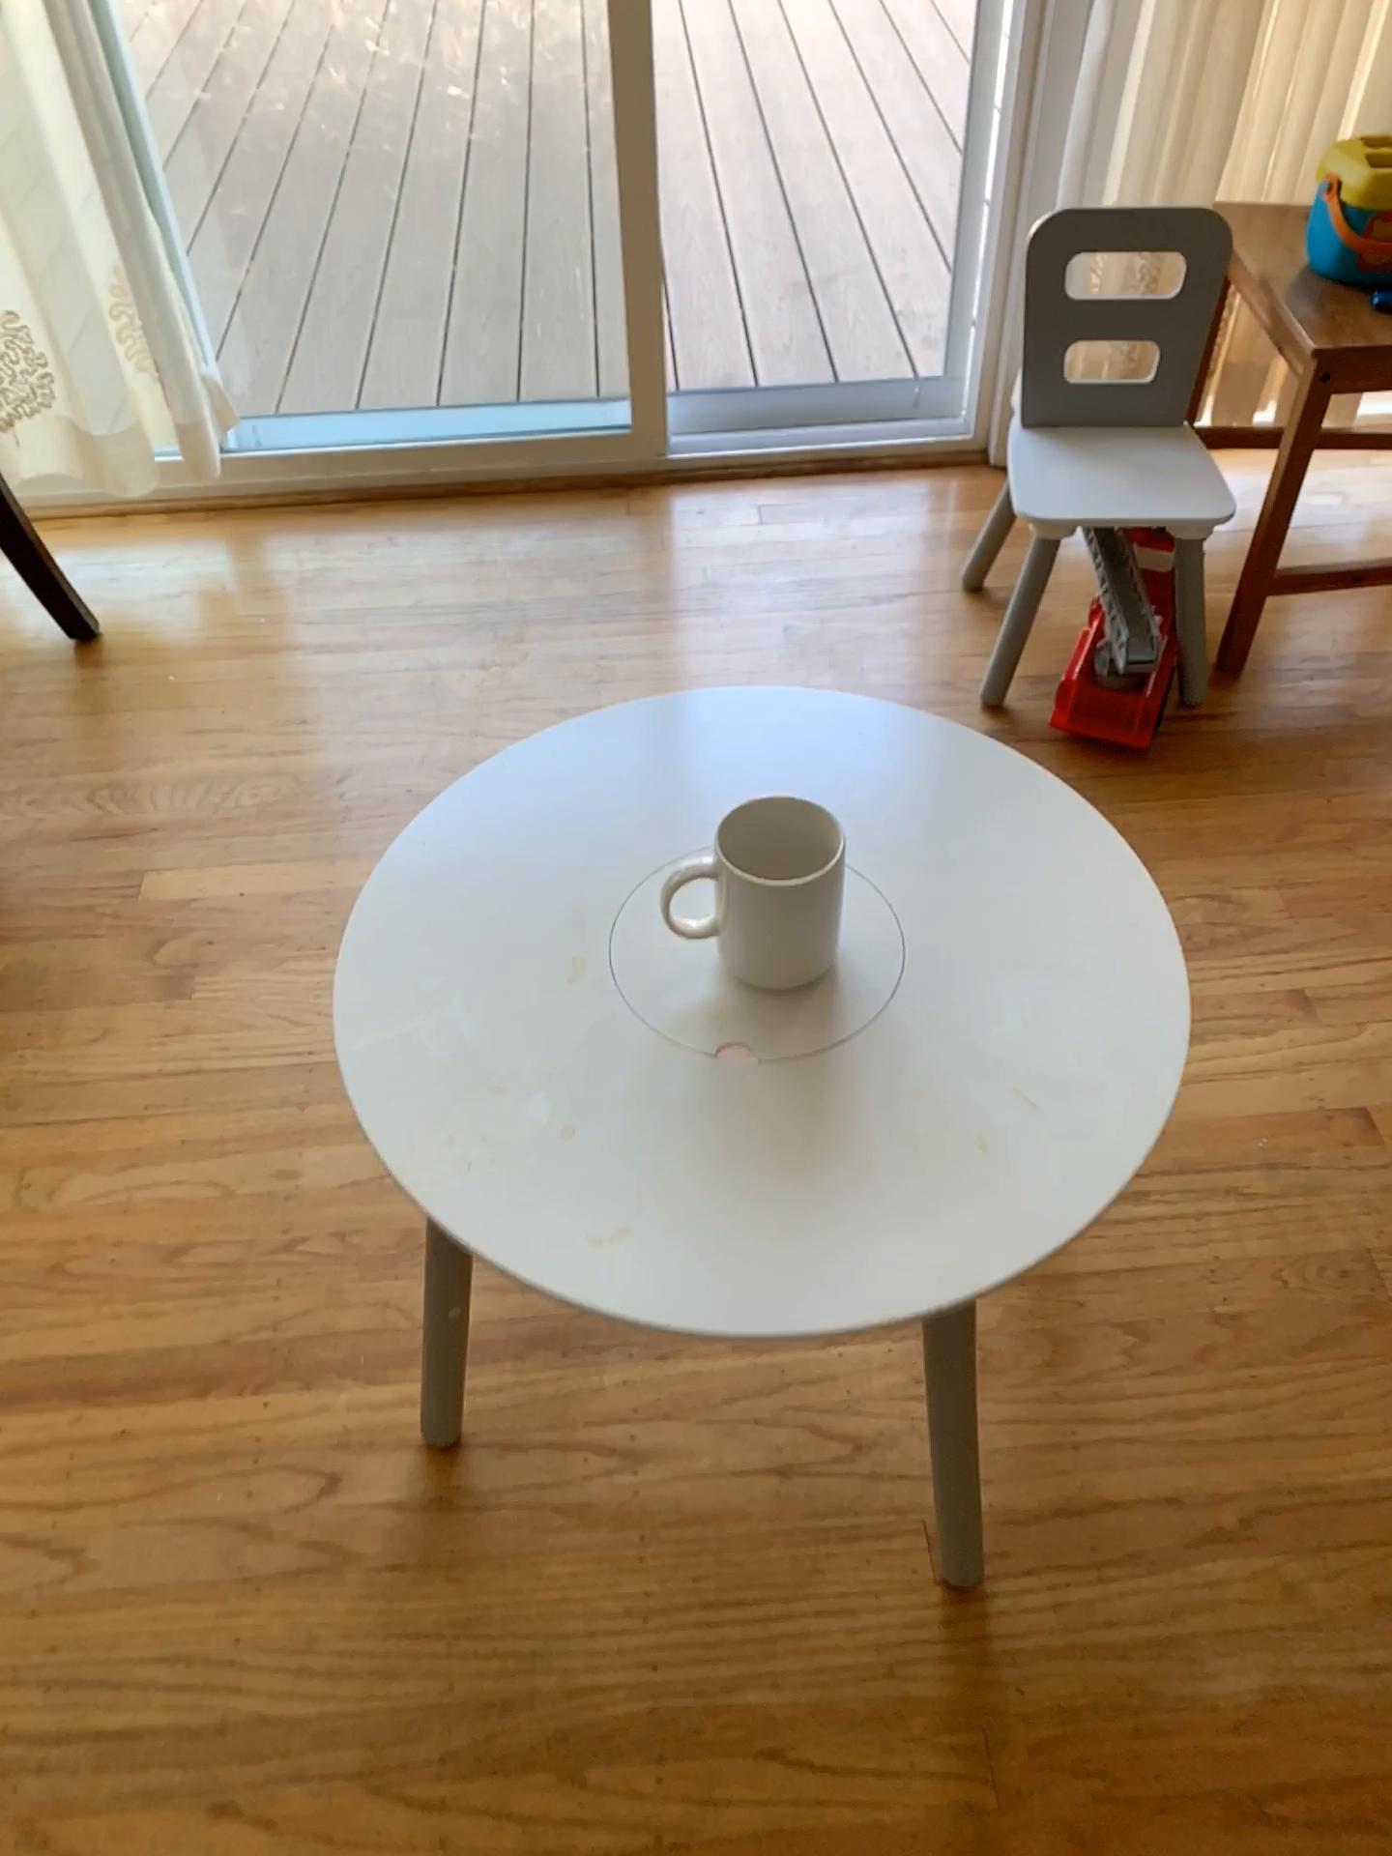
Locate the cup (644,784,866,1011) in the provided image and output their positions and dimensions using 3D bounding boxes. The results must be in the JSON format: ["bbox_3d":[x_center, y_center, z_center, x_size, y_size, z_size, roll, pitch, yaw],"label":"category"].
[{"bbox_3d":[0.037,-0.021,0.963,0.130,0.090,0.111,-6,47,-4],"label":"cup"}]
